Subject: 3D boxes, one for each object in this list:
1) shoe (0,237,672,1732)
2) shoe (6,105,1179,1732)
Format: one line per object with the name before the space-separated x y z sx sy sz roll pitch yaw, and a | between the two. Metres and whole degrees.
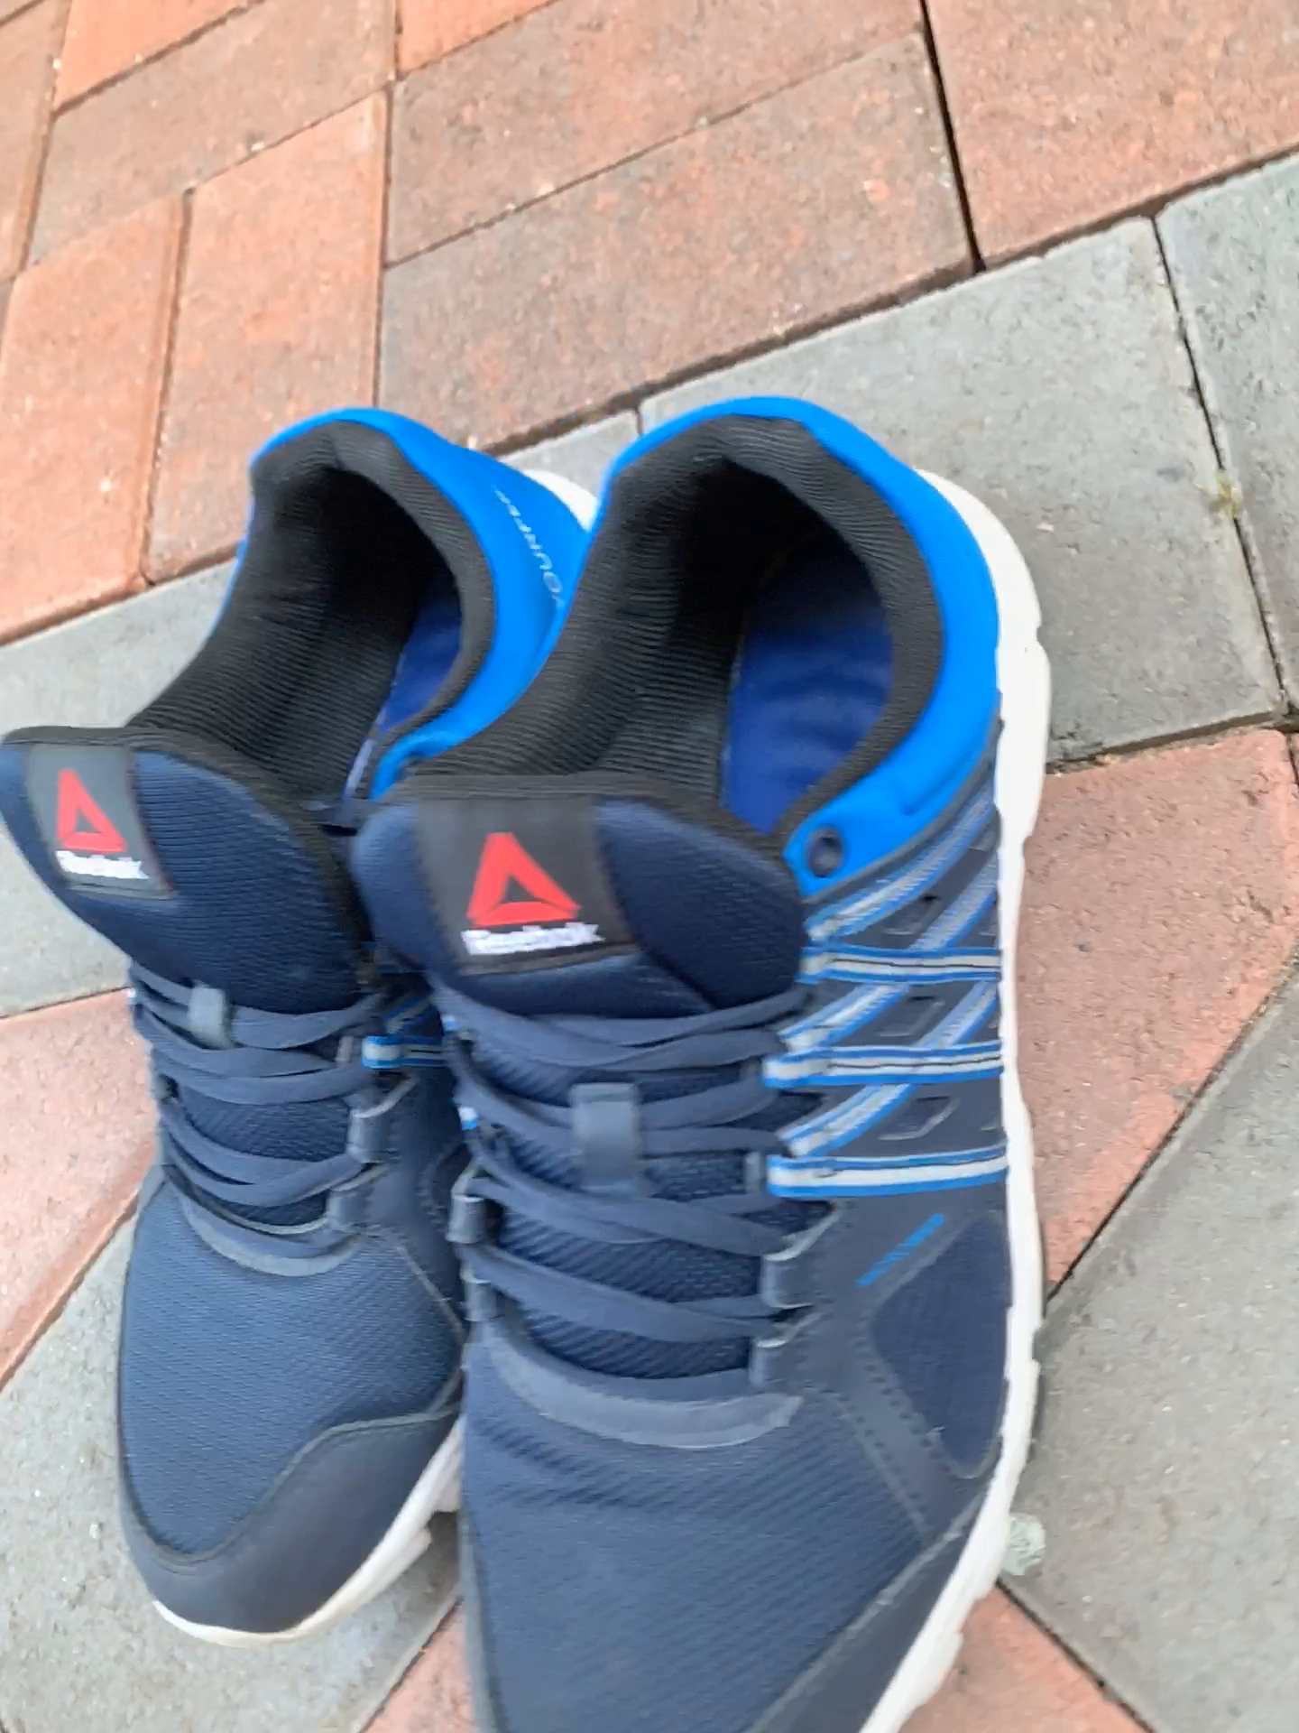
shoe | -0.095 0.025 0.286 0.111 0.119 0.261 4 73 28
shoe | 0.016 0.034 0.242 0.111 0.119 0.281 4 73 28
